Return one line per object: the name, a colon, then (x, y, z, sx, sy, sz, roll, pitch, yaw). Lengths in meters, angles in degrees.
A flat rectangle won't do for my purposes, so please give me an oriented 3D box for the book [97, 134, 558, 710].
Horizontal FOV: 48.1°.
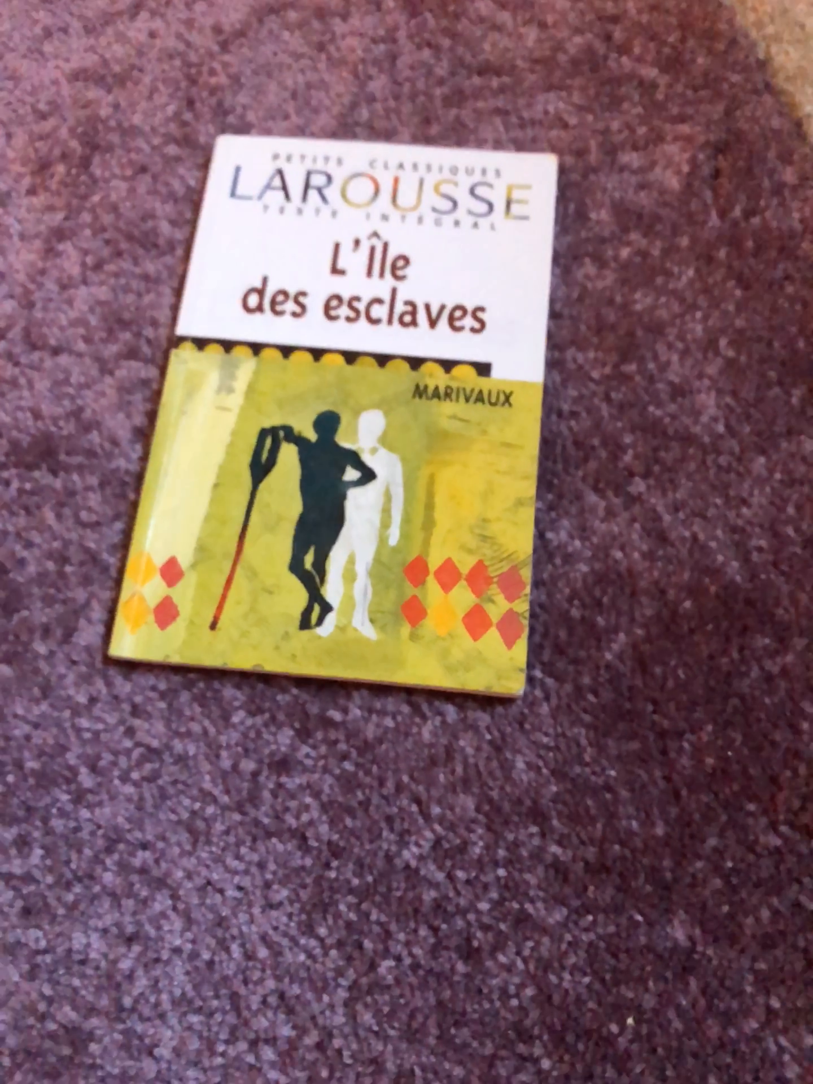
book: (-0.016, -0.041, 0.266, 0.110, 0.020, 0.167, 5, 72, 3)
